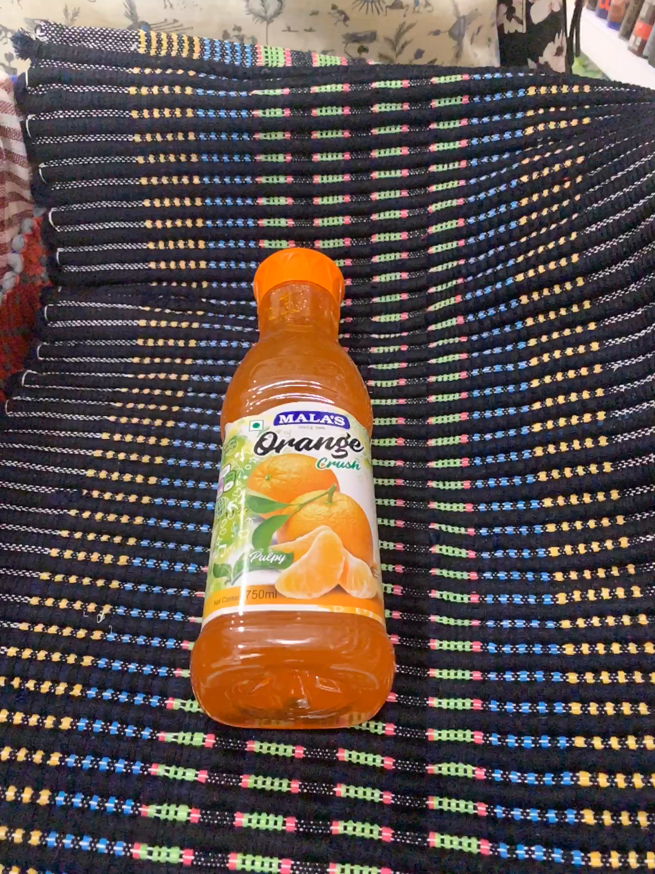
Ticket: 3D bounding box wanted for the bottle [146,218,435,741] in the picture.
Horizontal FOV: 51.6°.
[{"bbox_3d":[-0.011,0.001,0.292,0.080,0.080,0.221,3,47,-2],"label":"bottle"}]
